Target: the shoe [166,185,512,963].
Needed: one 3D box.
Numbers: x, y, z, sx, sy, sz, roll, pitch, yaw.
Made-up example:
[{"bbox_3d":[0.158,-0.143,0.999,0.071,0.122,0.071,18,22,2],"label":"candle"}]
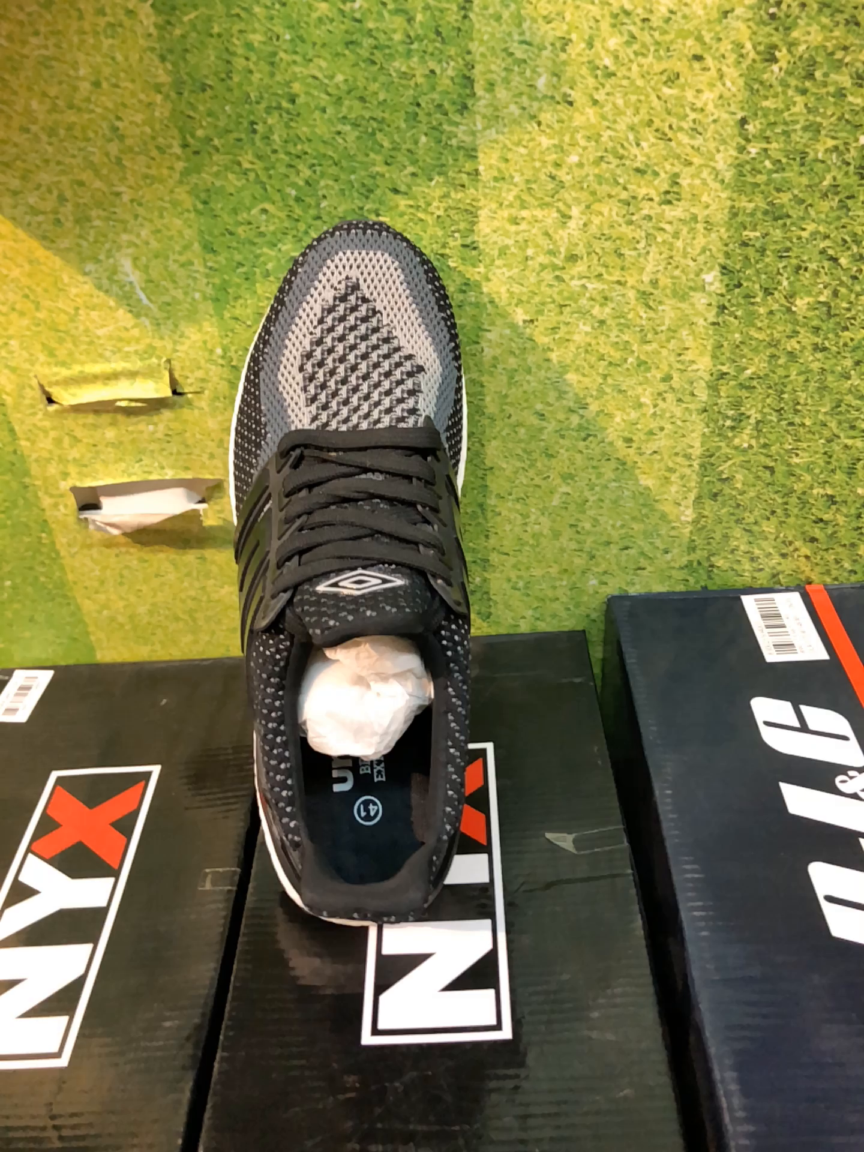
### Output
[{"bbox_3d":[-0.046,0.000,0.393,0.111,0.122,0.270,-1,77,-11],"label":"shoe"}]
